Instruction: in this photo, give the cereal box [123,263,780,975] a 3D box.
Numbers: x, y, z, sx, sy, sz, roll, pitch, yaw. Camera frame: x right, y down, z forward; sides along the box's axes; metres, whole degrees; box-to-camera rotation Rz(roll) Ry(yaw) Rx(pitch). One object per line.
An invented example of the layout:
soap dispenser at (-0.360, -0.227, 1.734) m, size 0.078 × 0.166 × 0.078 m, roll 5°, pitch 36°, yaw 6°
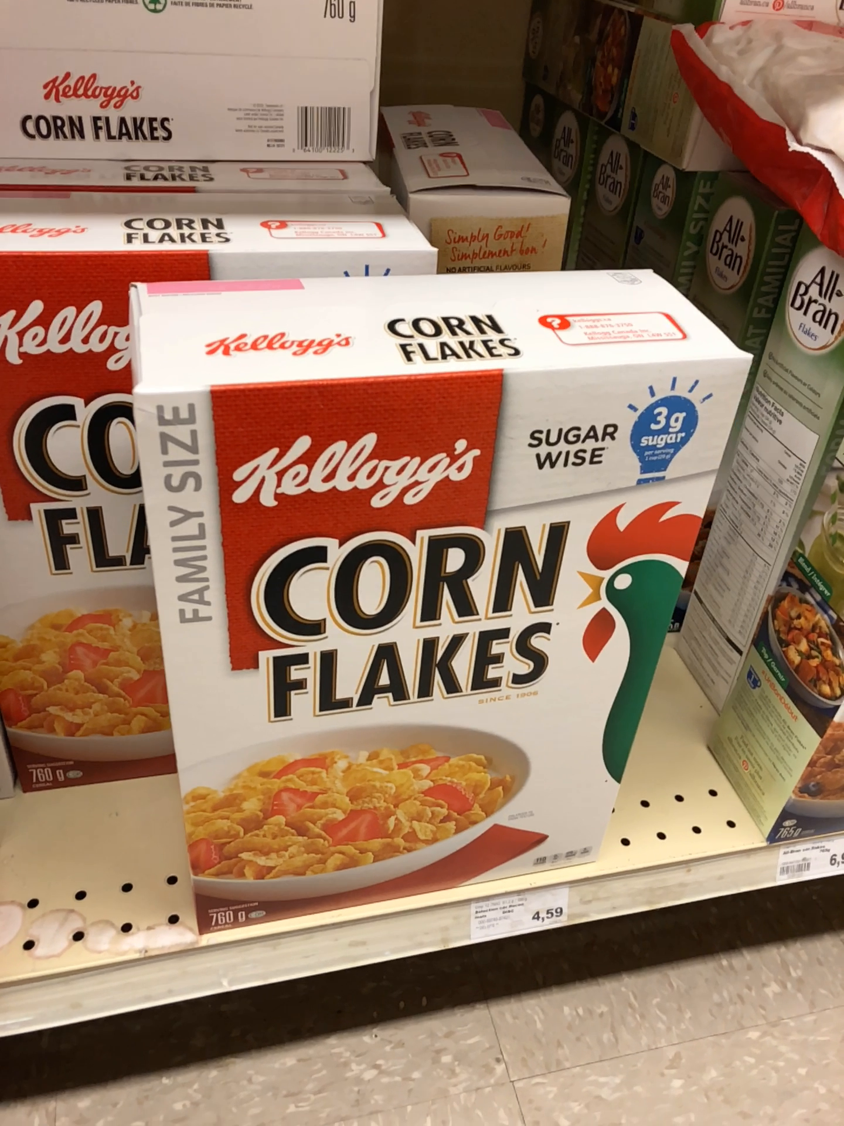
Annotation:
cereal box at (-0.001, 0.046, 0.519) m, size 0.270 × 0.387 × 0.101 m, roll -7°, pitch 37°, yaw -15°
